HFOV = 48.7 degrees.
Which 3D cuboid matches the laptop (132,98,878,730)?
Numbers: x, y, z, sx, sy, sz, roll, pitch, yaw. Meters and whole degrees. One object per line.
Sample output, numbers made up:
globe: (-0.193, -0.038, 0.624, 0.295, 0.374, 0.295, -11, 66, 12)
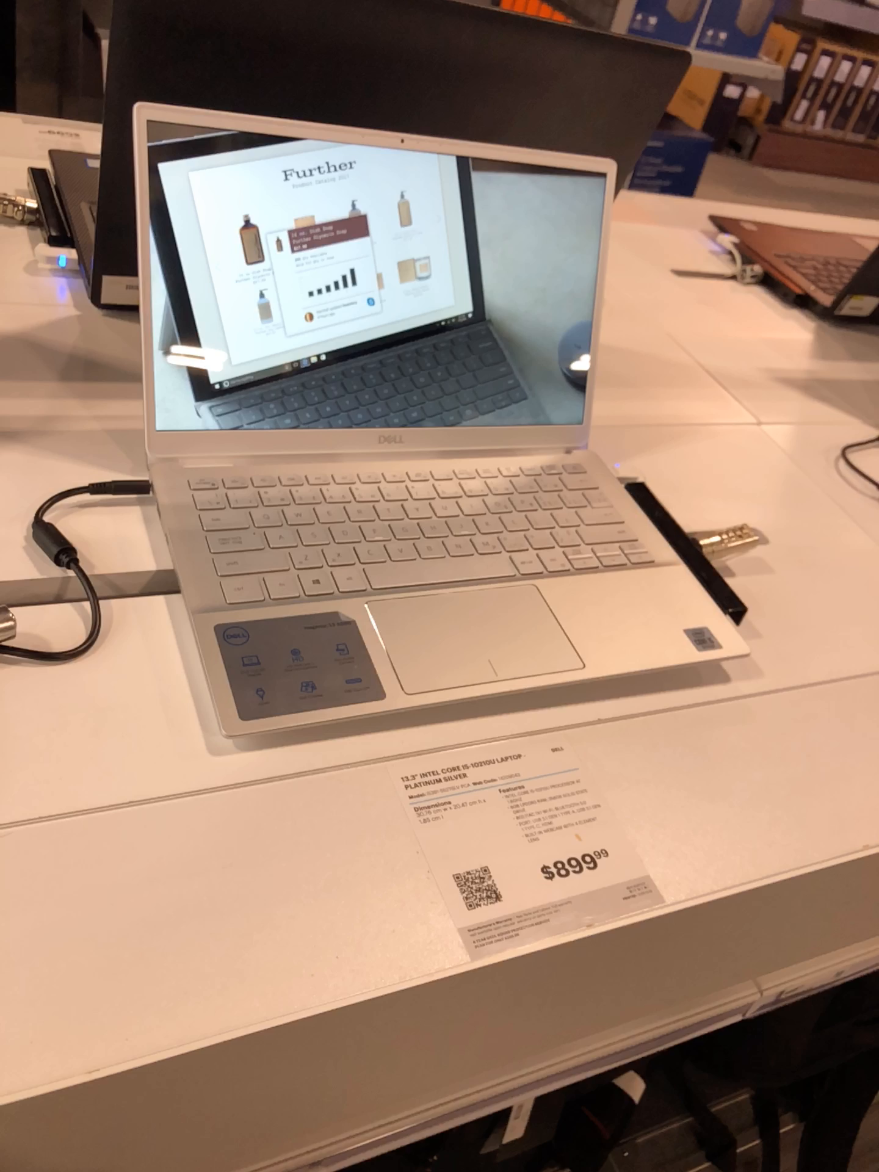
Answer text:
laptop: (0.007, -0.112, 0.536, 0.293, 0.165, 0.294, -5, 46, -23)
